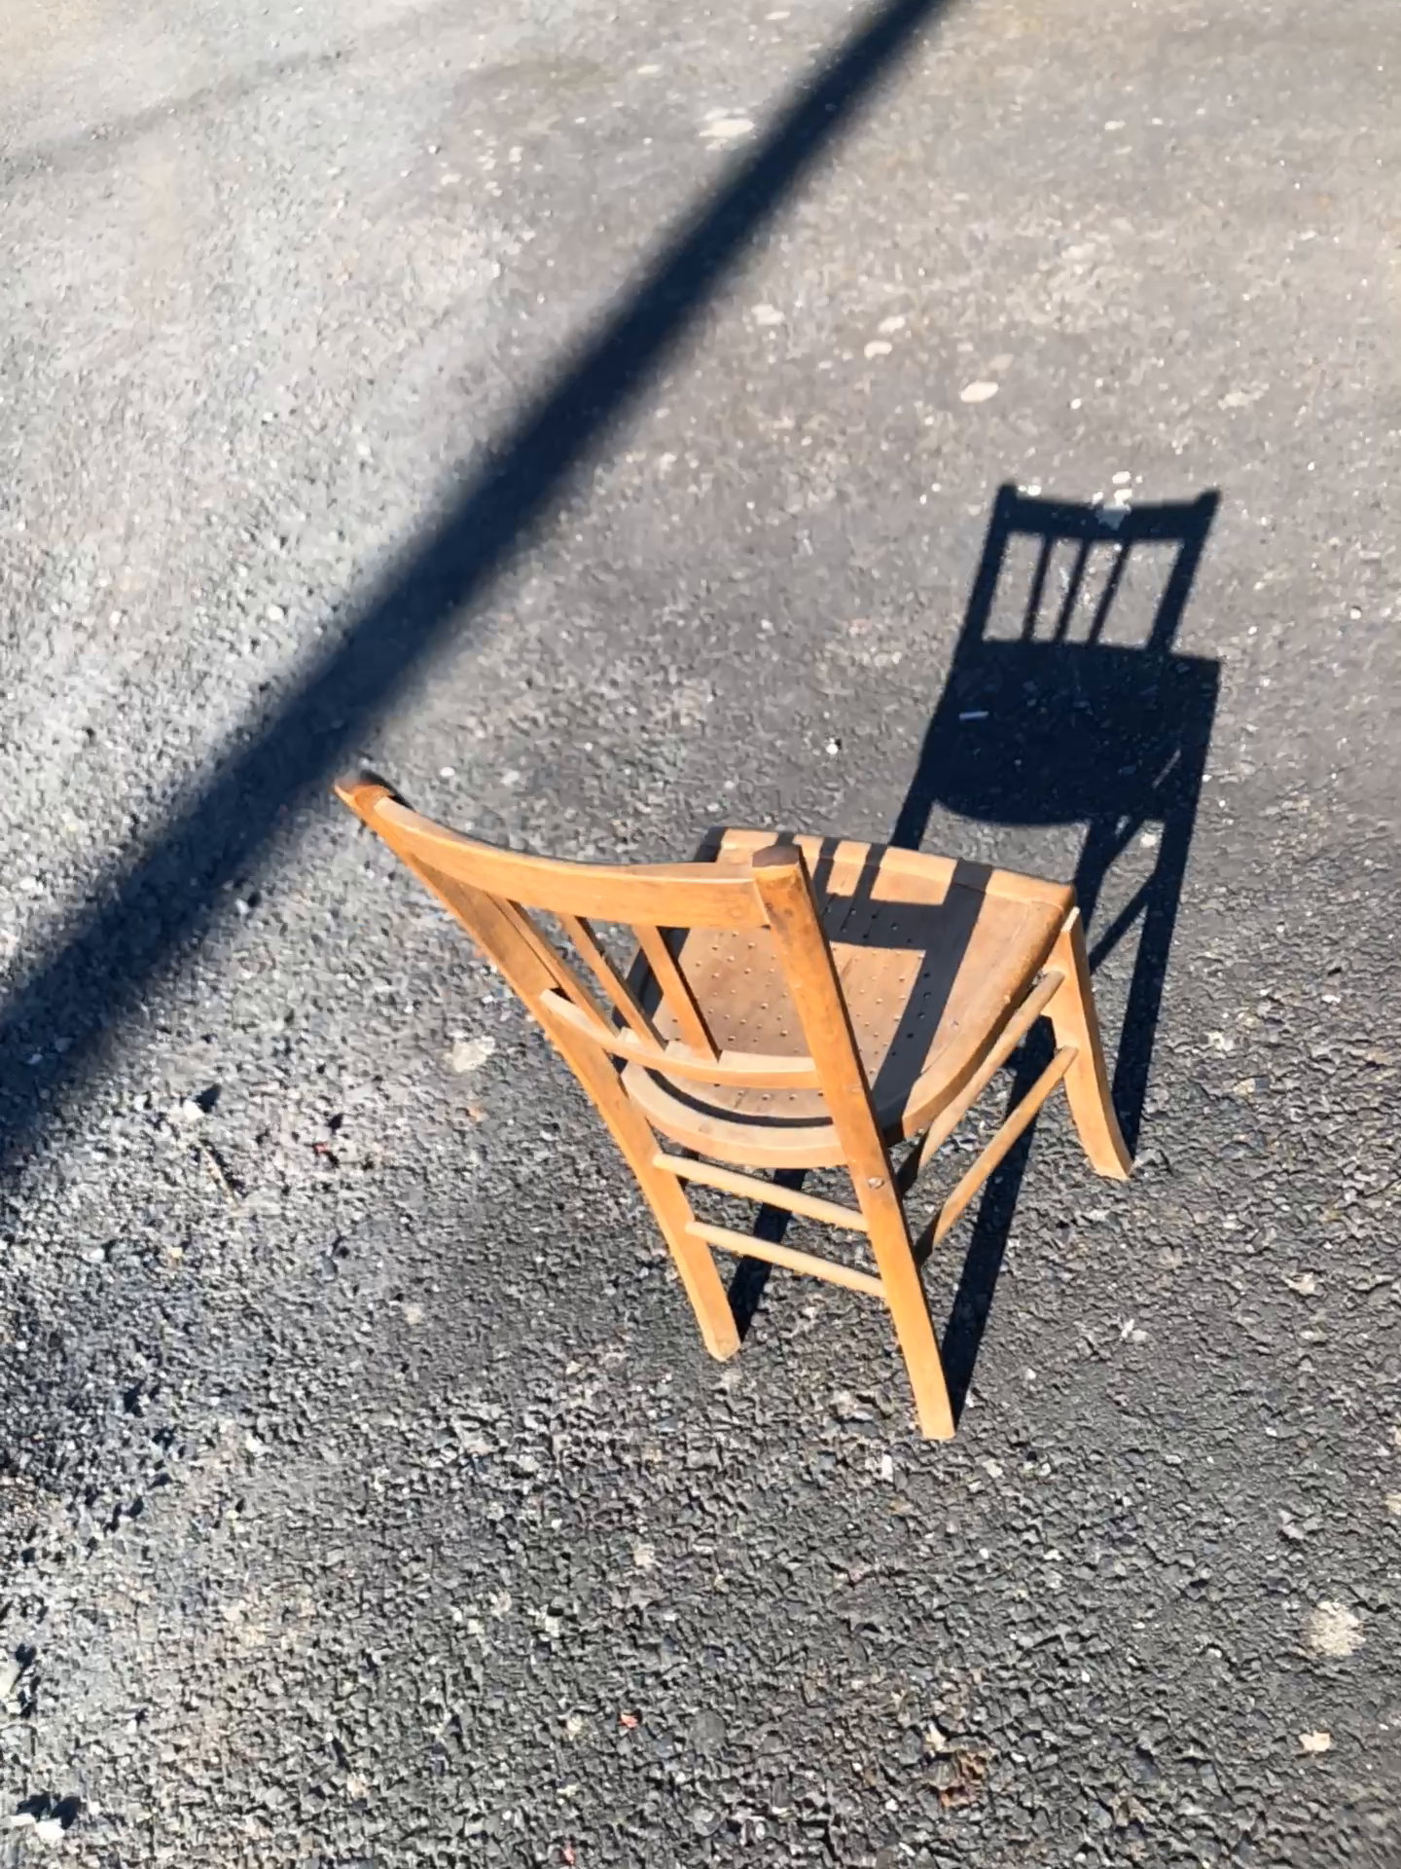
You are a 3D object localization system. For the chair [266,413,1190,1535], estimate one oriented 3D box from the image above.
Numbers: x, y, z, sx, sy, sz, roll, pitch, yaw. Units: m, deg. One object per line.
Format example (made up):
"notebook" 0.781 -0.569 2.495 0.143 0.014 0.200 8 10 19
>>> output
"chair" 0.102 0.013 1.376 0.490 0.737 0.543 14 46 31
